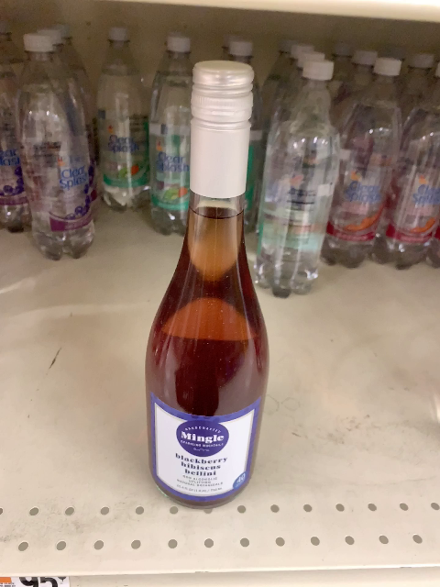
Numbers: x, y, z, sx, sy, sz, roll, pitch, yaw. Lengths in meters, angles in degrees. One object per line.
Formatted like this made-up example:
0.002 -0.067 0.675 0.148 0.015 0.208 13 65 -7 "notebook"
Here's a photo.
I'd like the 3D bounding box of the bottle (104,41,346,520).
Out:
-0.005 0.019 0.287 0.090 0.298 0.080 4 34 0 "bottle"
